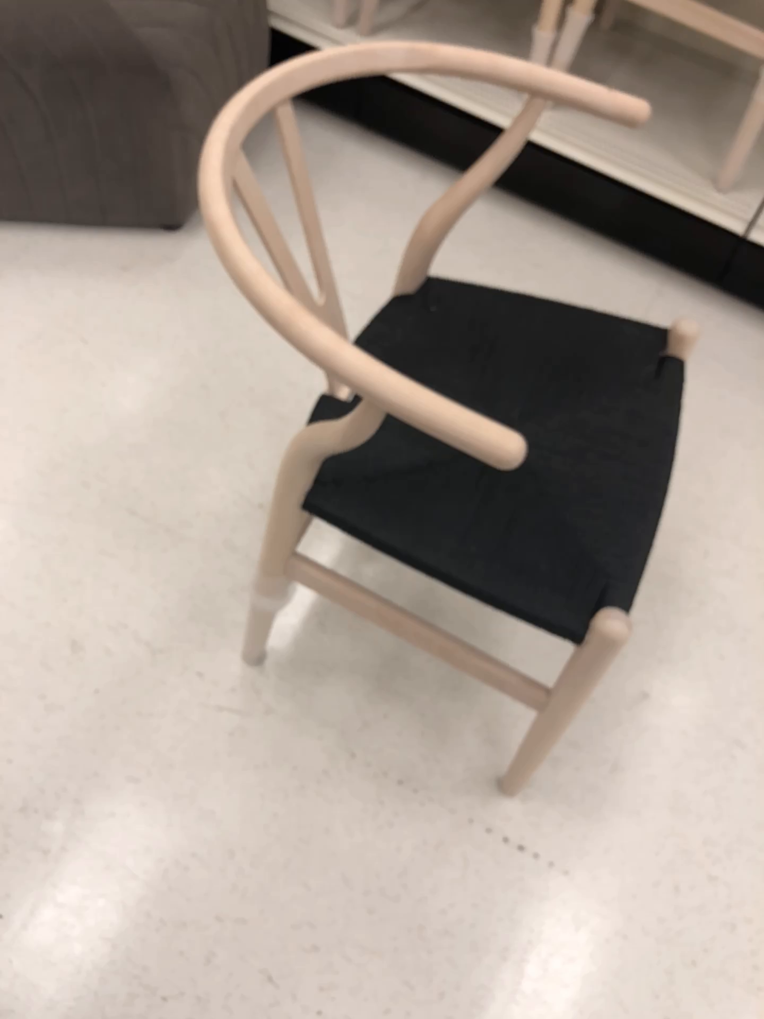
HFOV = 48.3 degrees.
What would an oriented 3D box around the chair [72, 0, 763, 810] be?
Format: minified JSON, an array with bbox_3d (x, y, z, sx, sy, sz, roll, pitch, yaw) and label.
[{"bbox_3d":[0.078,-0.097,1.078,0.556,0.729,0.560,21,55,7],"label":"chair"}]
